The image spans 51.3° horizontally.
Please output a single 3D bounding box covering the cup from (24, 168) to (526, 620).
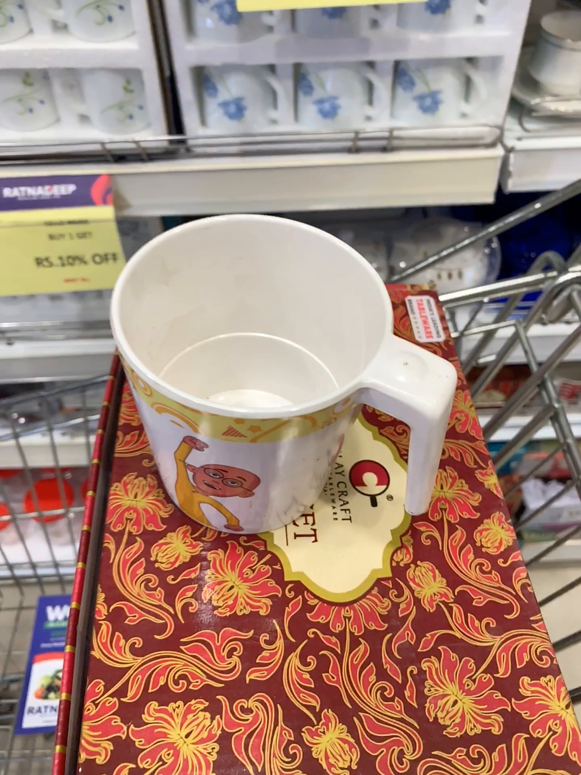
[{"bbox_3d":[-0.002,0.001,0.193,0.110,0.080,0.080,21,55,13],"label":"cup"}]
